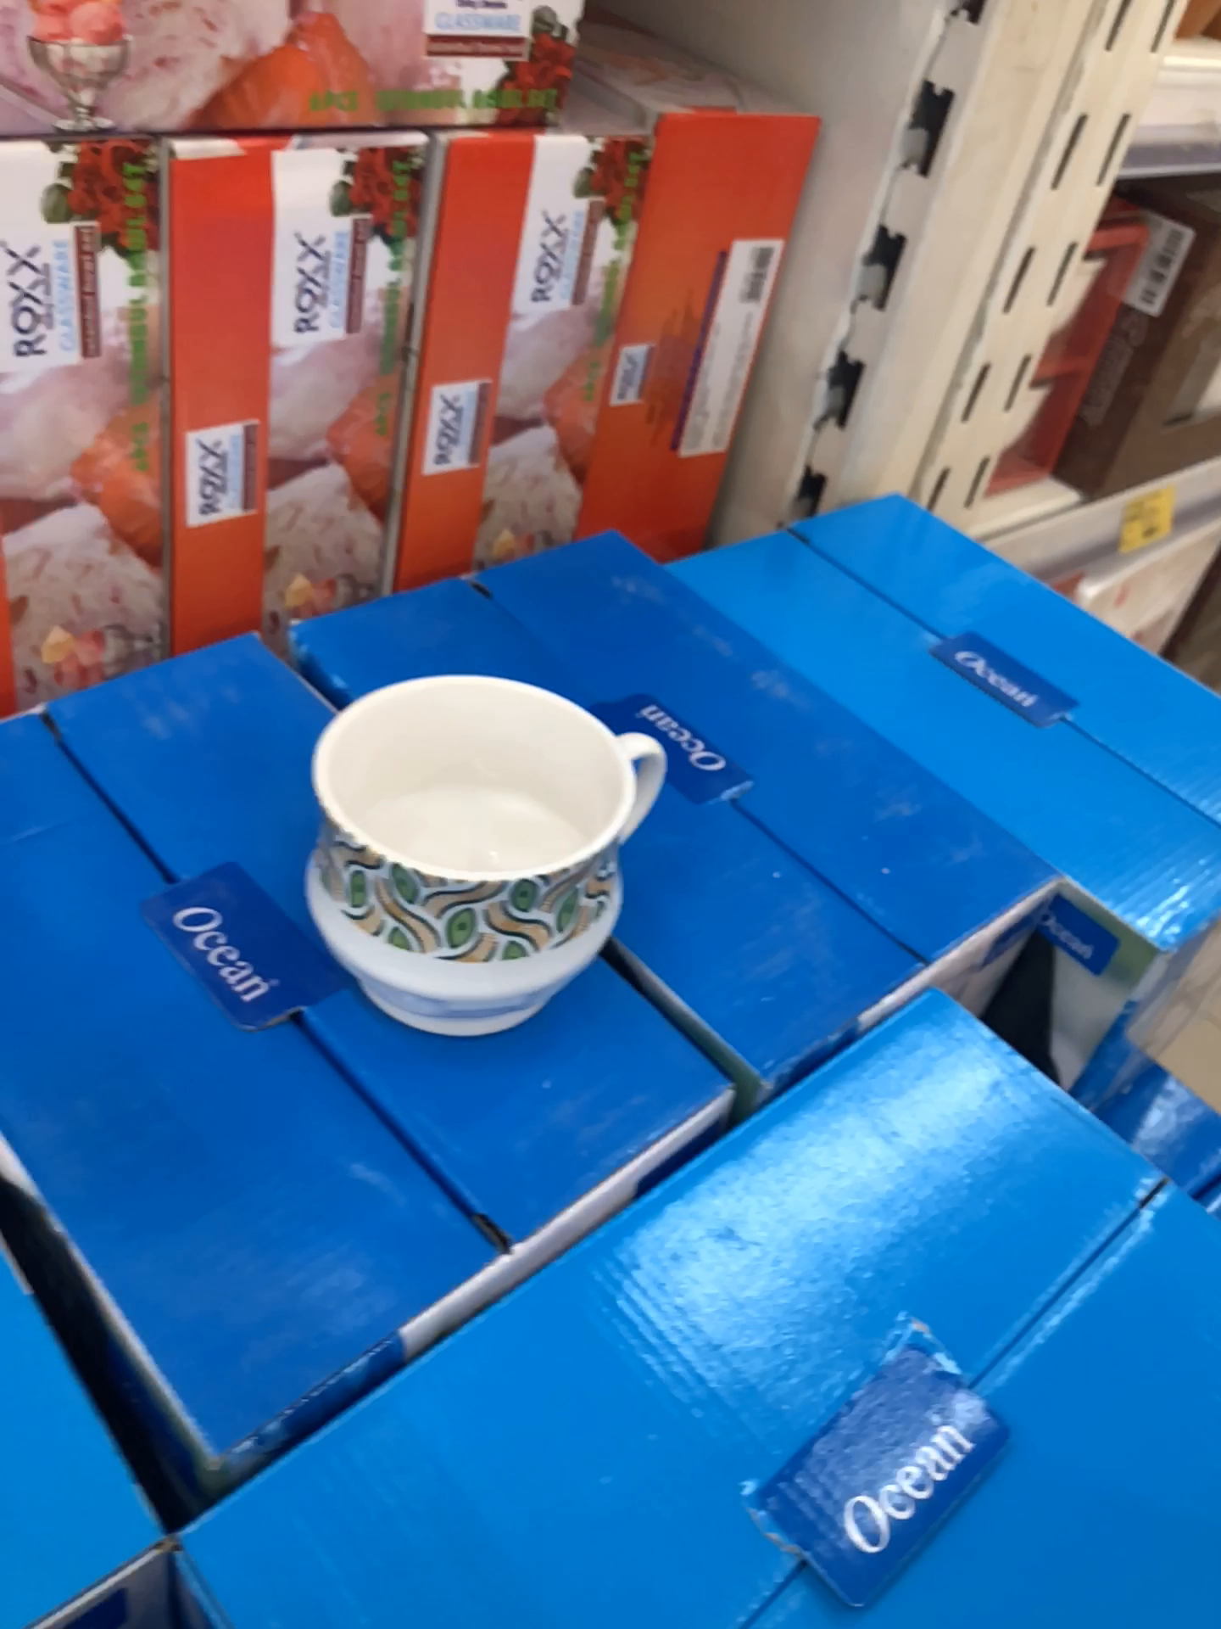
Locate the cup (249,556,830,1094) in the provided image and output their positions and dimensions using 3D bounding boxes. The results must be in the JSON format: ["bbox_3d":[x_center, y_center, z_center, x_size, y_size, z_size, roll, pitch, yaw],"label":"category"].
[{"bbox_3d":[-0.017,-0.003,0.304,0.101,0.060,0.070,-26,55,-39],"label":"cup"}]
